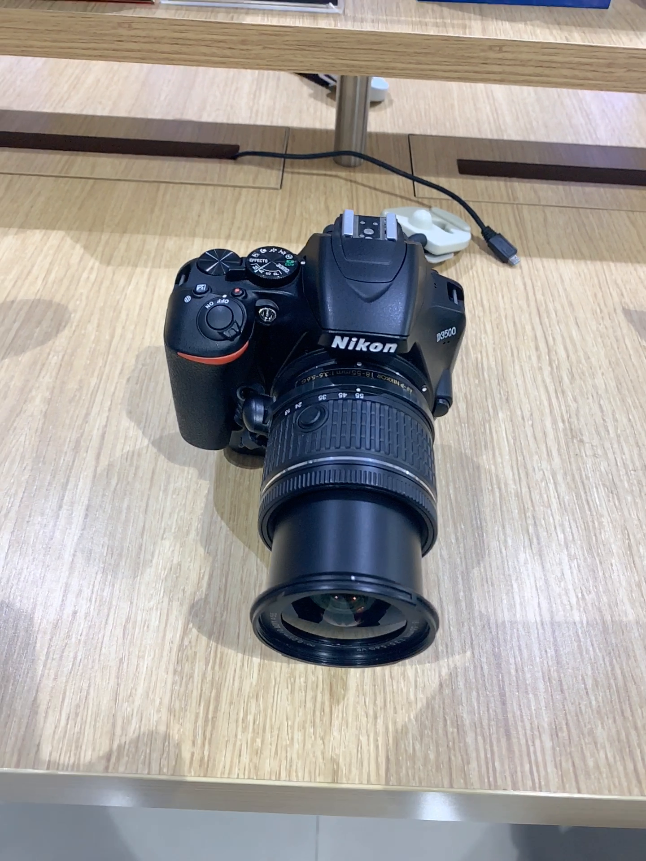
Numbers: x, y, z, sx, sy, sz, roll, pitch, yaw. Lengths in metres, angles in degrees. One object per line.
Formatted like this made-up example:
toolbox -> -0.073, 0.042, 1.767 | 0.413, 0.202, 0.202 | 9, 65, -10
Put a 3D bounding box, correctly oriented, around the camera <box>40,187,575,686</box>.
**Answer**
camera -> -0.003, 0.000, 0.224 | 0.117, 0.095, 0.131 | 3, 50, -1
